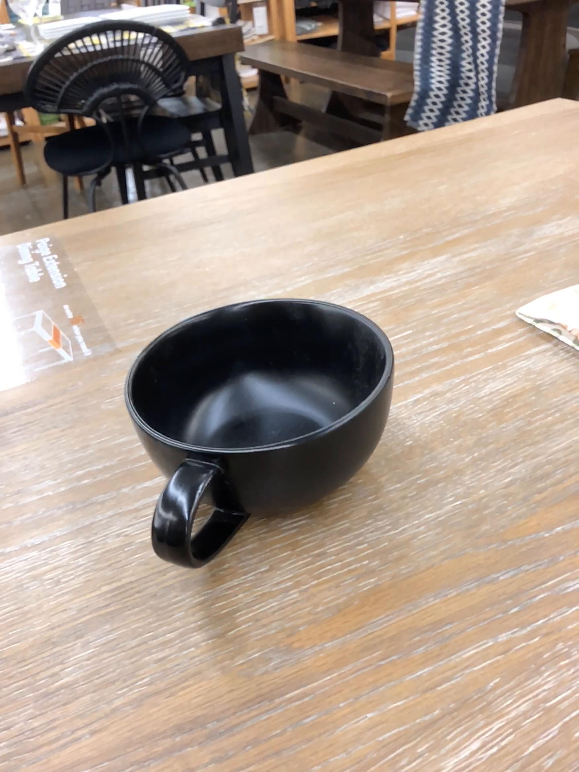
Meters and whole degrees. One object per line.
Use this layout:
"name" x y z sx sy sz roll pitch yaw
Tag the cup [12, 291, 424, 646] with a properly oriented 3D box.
"cup" -0.018 0.021 0.323 0.138 0.054 0.175 8 37 20
